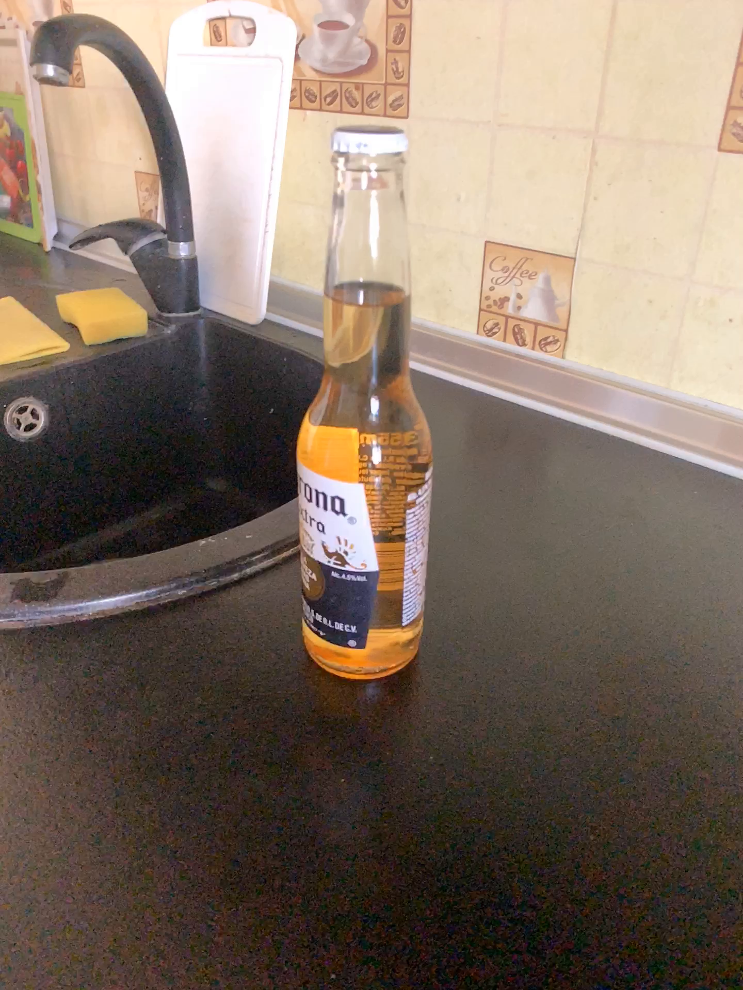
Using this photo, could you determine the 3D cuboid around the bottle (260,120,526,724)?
[{"bbox_3d":[0.004,-0.024,0.336,0.070,0.249,0.070,1,30,0],"label":"bottle"}]
